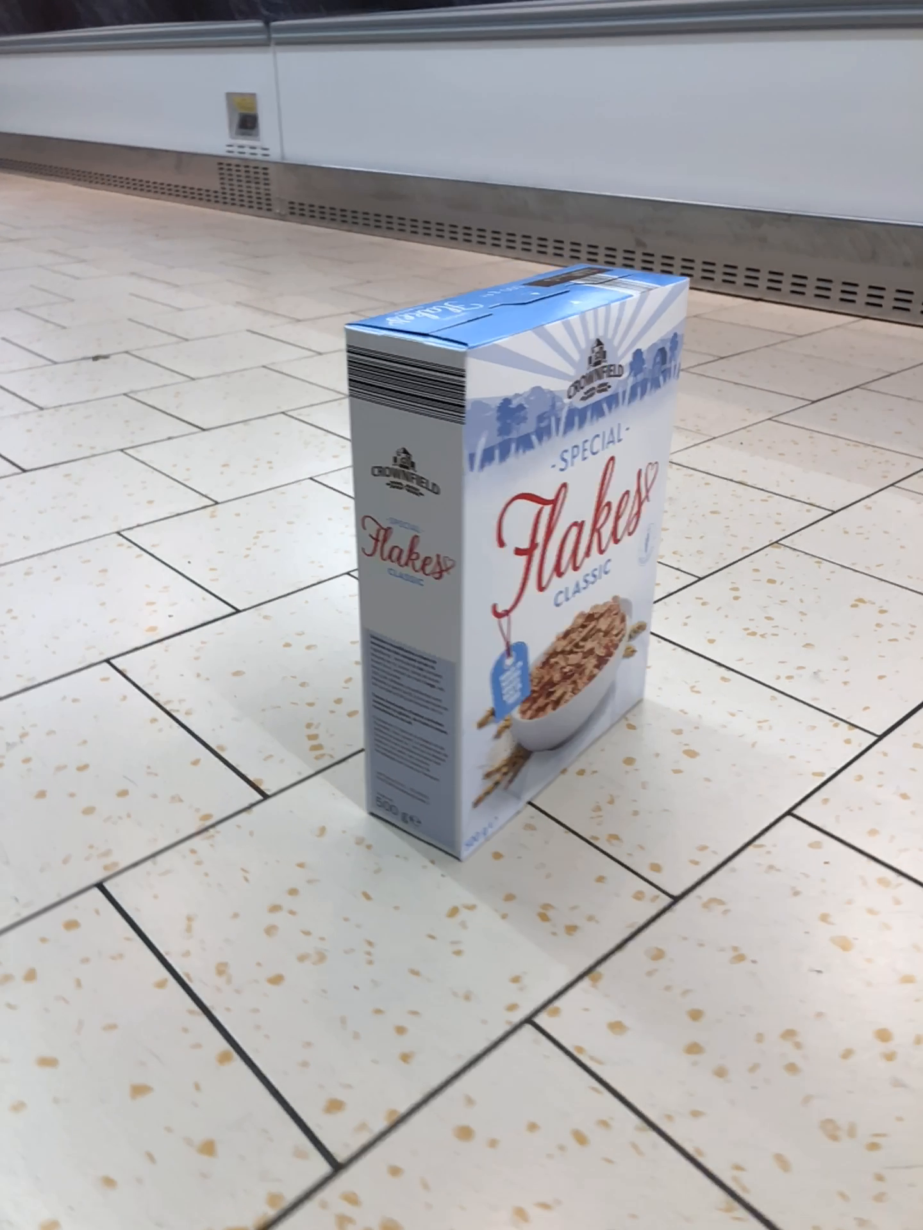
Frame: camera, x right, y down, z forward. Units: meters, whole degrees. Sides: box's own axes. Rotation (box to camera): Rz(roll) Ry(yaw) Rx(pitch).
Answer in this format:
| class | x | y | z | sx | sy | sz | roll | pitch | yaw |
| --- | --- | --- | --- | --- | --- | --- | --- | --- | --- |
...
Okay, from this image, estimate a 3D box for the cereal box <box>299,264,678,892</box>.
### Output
| class | x | y | z | sx | sy | sz | roll | pitch | yaw |
| --- | --- | --- | --- | --- | --- | --- | --- | --- | --- |
| cereal box | 0.022 | -0.028 | 0.530 | 0.070 | 0.268 | 0.201 | 20 | 33 | 33 |
